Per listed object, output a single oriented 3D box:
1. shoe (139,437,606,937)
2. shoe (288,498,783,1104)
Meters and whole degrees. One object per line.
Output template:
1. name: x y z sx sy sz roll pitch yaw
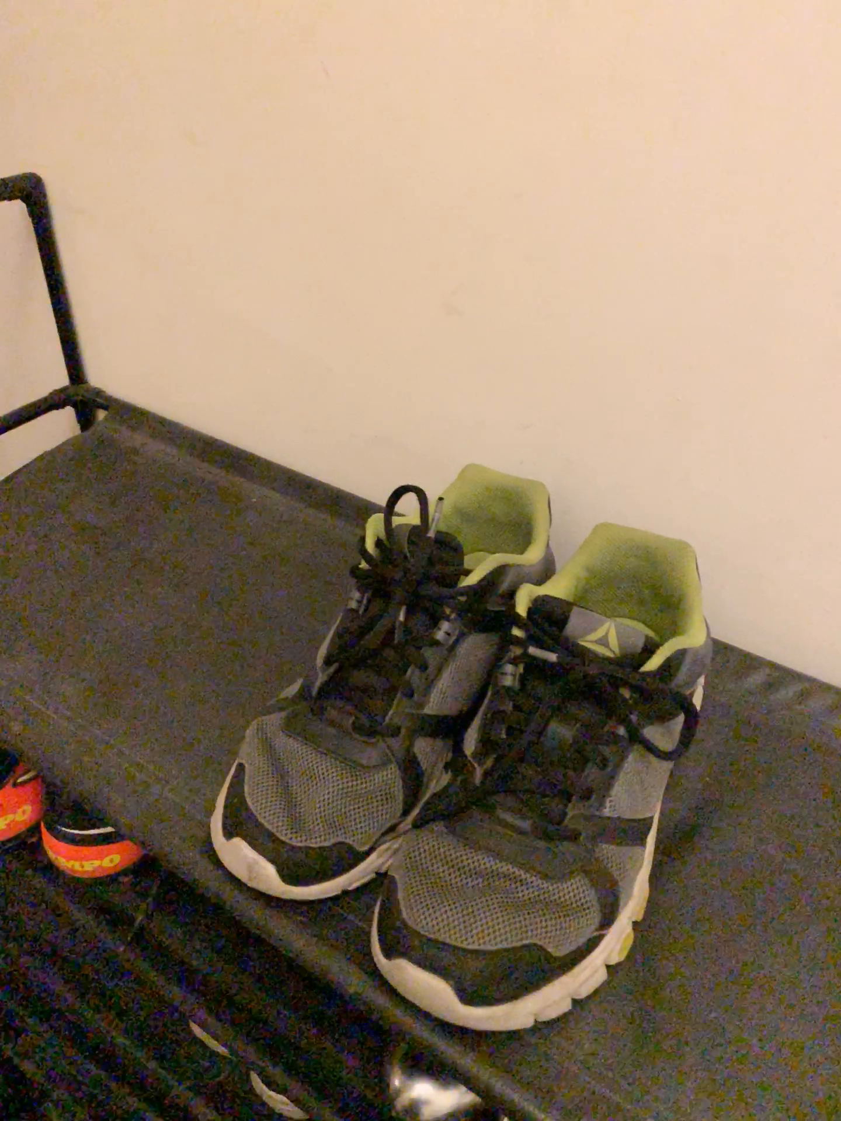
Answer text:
1. shoe: -0.007 0.044 0.452 0.100 0.099 0.252 22 42 26
2. shoe: 0.068 0.077 0.392 0.110 0.069 0.262 21 41 24
